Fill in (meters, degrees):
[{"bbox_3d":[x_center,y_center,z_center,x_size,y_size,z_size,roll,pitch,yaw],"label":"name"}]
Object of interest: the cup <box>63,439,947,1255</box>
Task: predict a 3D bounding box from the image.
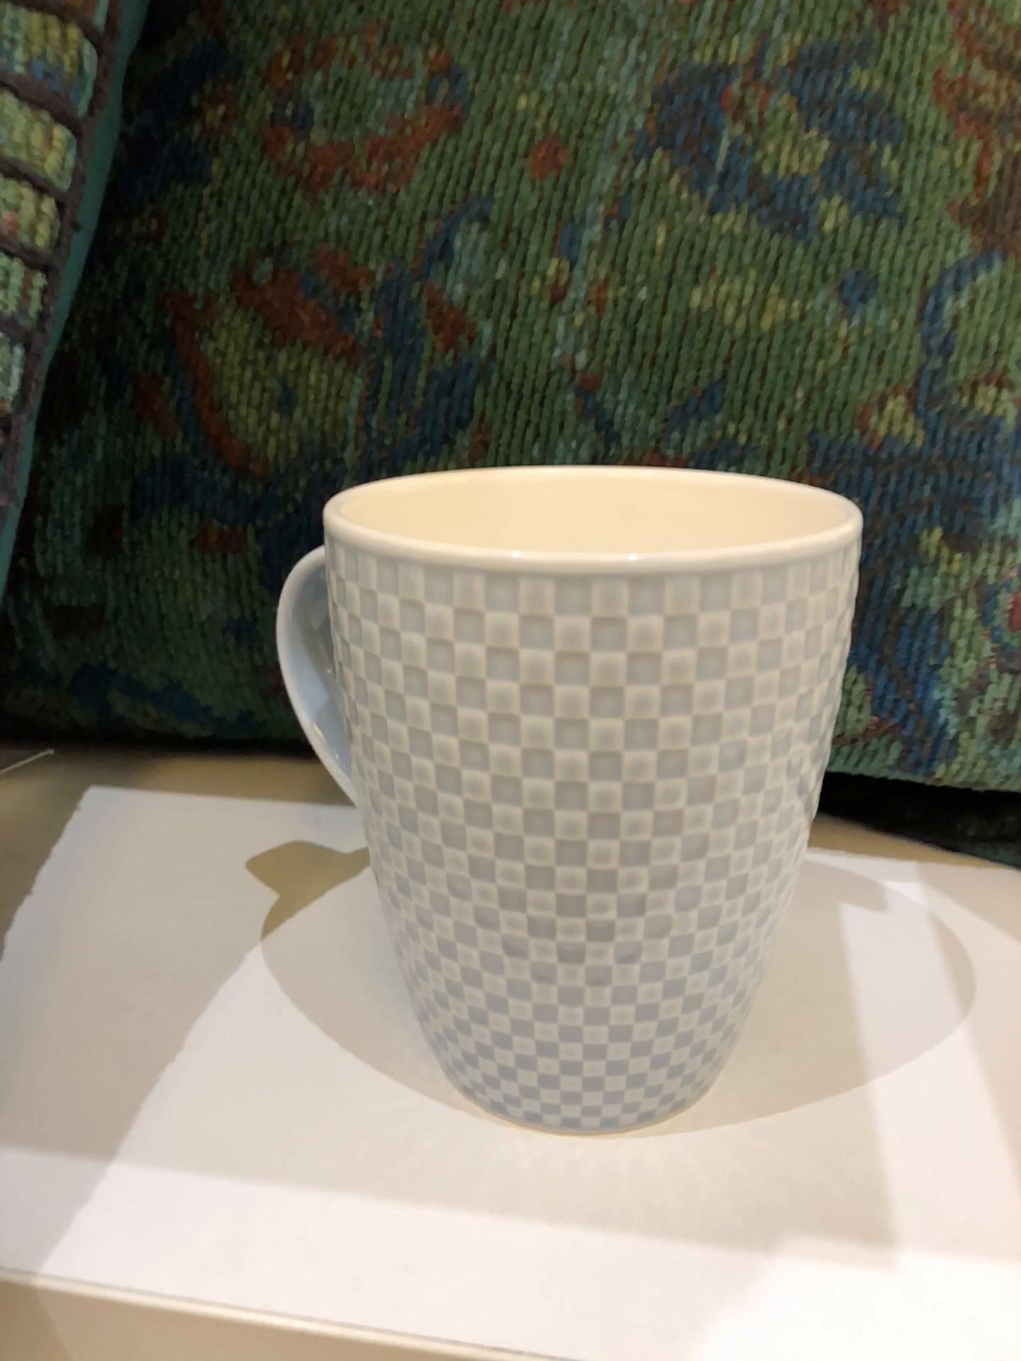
[{"bbox_3d":[0.001,0.009,0.186,0.100,0.080,0.090,14,23,38],"label":"cup"}]
